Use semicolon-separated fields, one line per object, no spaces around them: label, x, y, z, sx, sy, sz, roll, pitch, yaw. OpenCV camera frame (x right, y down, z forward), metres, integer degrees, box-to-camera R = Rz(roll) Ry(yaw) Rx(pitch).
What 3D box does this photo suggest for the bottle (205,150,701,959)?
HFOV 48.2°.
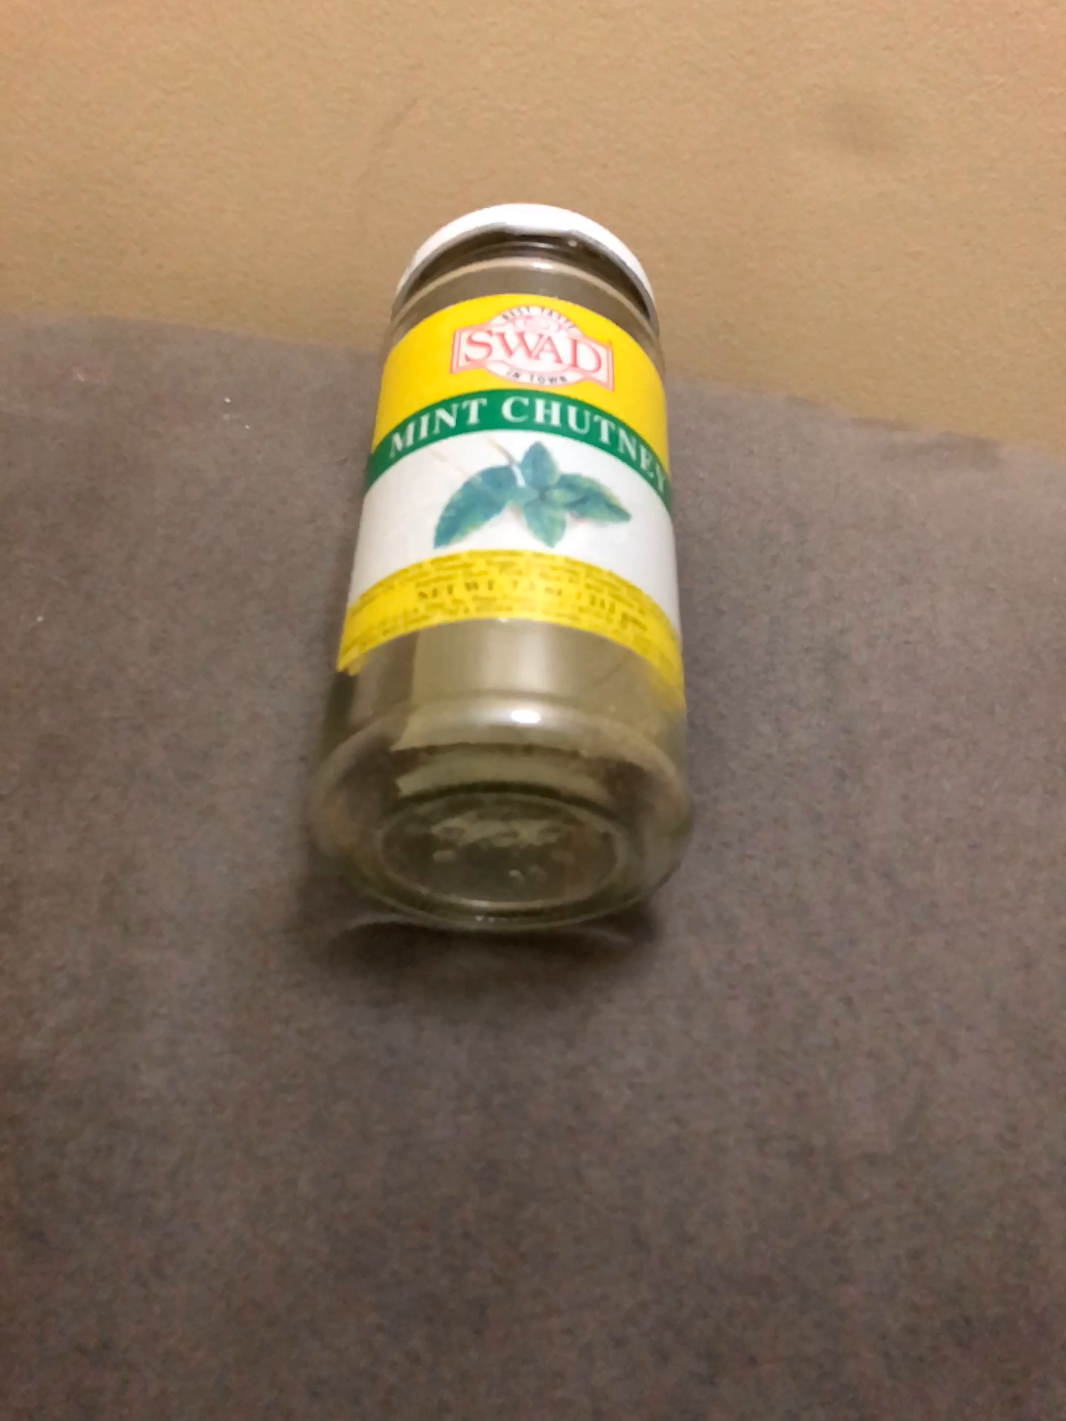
bottle;-0.009;-0.033;0.209;0.060;0.059;0.137;1;53;0
